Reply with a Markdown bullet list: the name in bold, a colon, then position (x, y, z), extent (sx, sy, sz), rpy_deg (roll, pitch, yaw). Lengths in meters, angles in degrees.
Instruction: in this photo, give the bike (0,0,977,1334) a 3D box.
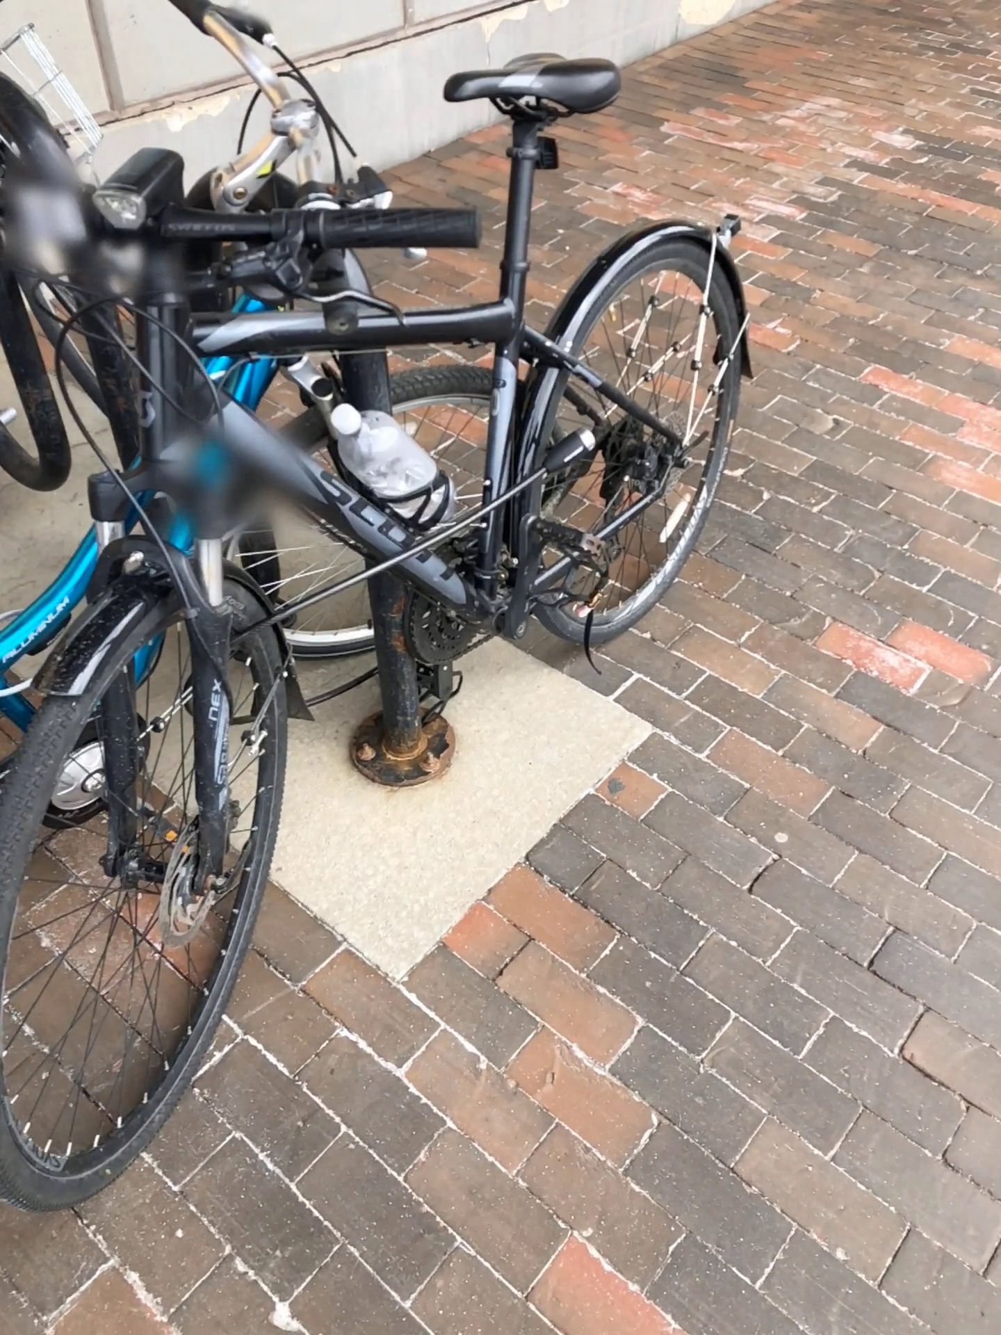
- **bike**: position (-0.115, -0.162, 1.311), extent (0.673, 0.940, 1.517), rpy_deg (24, 52, 22)
